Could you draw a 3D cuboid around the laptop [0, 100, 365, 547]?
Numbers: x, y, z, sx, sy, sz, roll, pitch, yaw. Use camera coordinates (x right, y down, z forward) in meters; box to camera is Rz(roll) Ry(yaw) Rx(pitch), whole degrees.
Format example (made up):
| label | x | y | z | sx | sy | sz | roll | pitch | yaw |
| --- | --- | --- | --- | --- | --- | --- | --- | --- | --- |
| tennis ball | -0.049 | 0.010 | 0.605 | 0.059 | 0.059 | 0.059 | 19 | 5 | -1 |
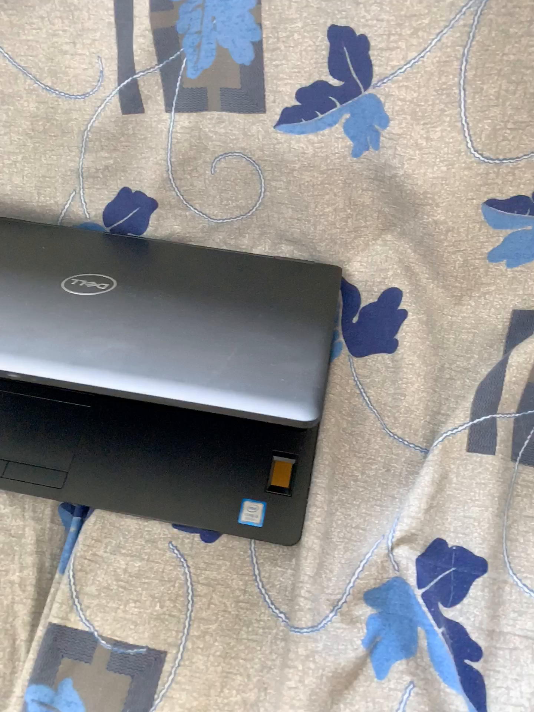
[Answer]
| label | x | y | z | sx | sy | sz | roll | pitch | yaw |
| --- | --- | --- | --- | --- | --- | --- | --- | --- | --- |
| laptop | -0.138 | -0.027 | 0.398 | 0.371 | 0.143 | 0.238 | 9 | 65 | 7 |
